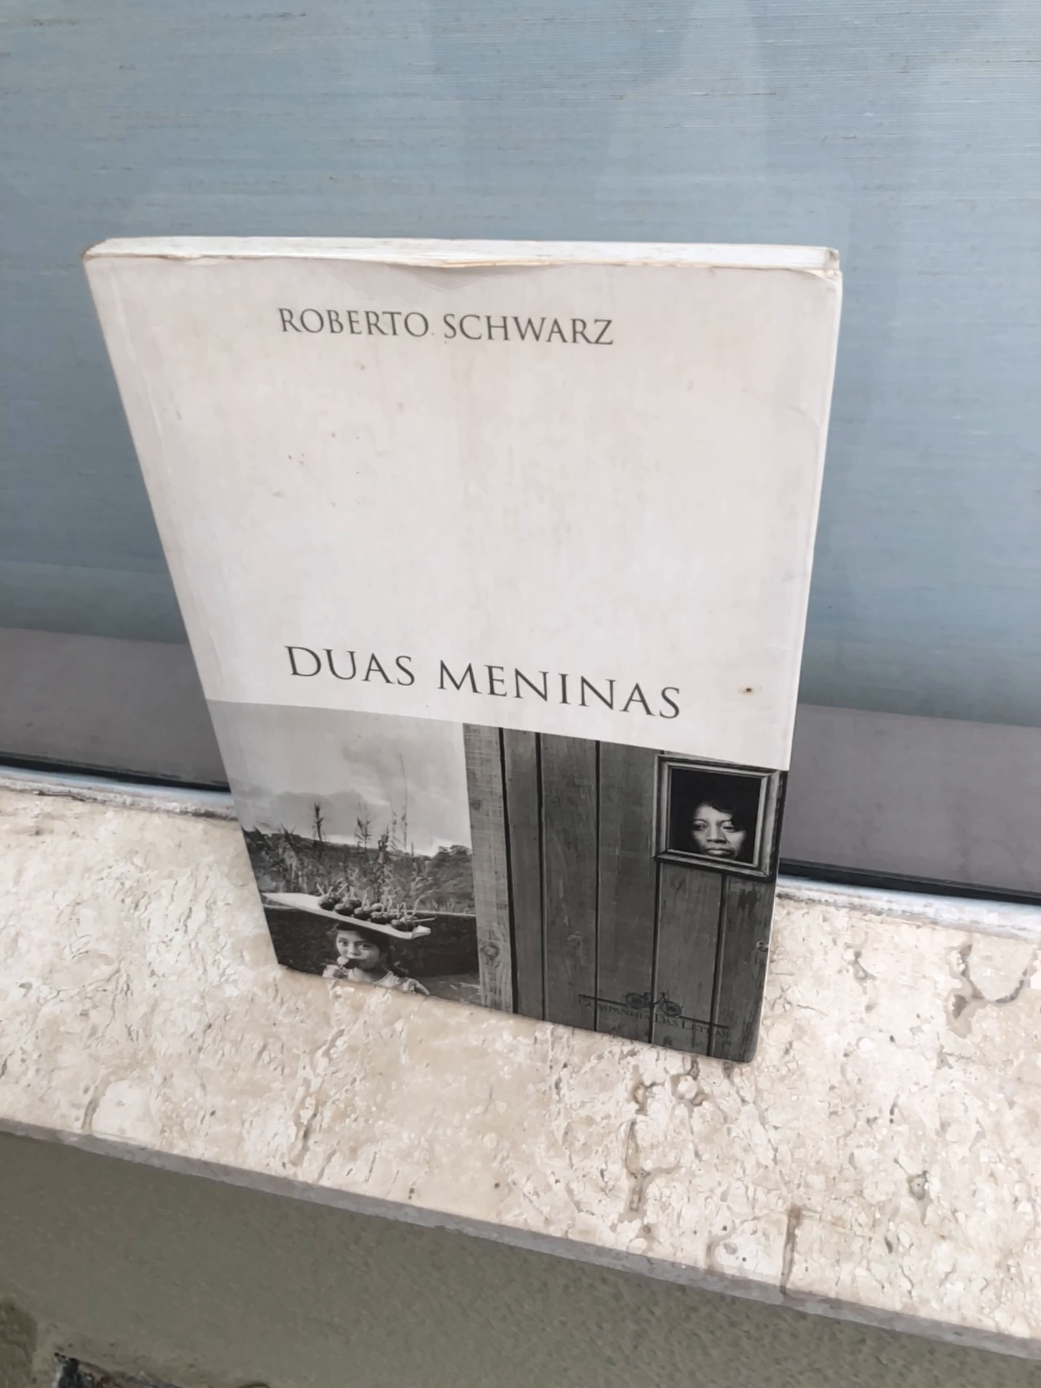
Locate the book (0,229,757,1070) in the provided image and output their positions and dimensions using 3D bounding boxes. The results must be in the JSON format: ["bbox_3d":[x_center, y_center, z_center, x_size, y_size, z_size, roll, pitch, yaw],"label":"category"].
[{"bbox_3d":[-0.023,0.004,0.264,0.139,0.204,0.016,7,39,16],"label":"book"}]
